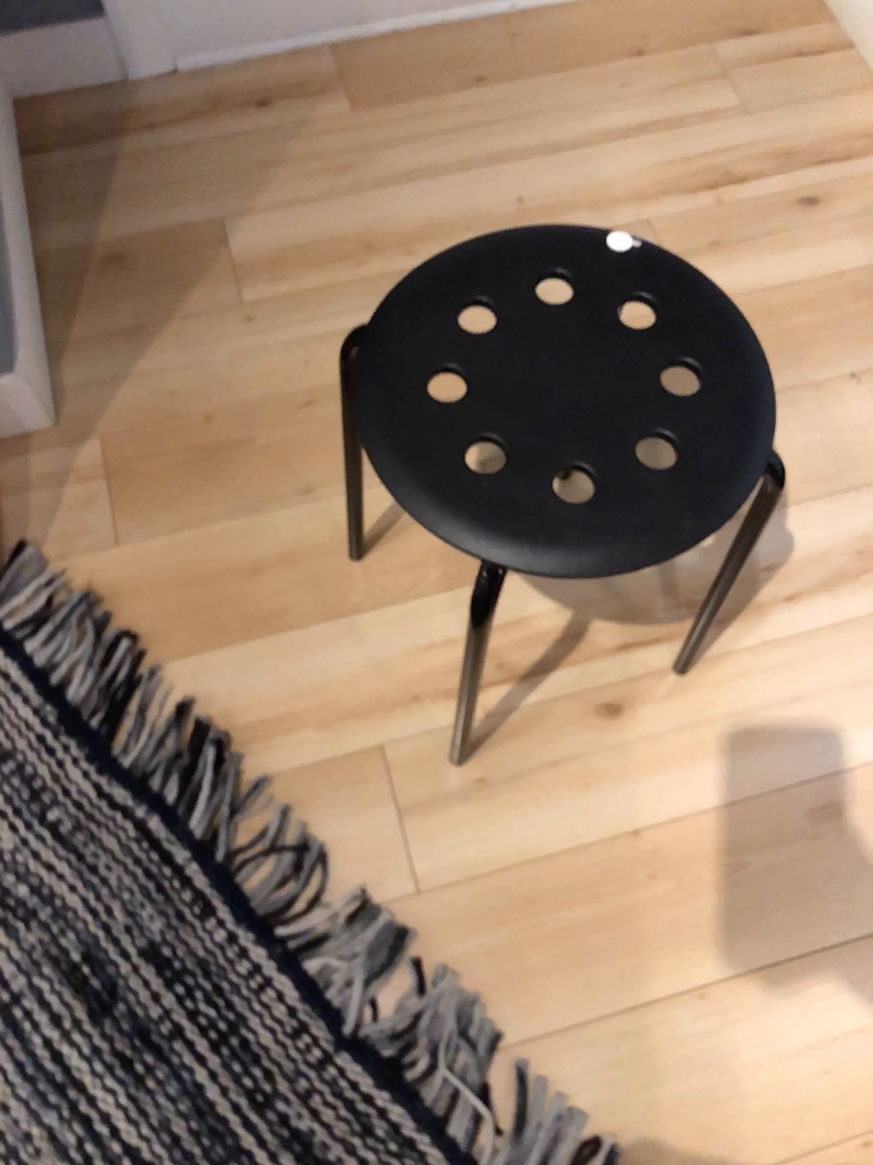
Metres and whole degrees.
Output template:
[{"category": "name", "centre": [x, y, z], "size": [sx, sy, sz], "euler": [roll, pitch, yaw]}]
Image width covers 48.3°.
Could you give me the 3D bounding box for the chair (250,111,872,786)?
[{"category": "chair", "centre": [0.094, -0.099, 0.918], "size": [0.370, 0.400, 0.380], "euler": [-21, 67, -9]}]
